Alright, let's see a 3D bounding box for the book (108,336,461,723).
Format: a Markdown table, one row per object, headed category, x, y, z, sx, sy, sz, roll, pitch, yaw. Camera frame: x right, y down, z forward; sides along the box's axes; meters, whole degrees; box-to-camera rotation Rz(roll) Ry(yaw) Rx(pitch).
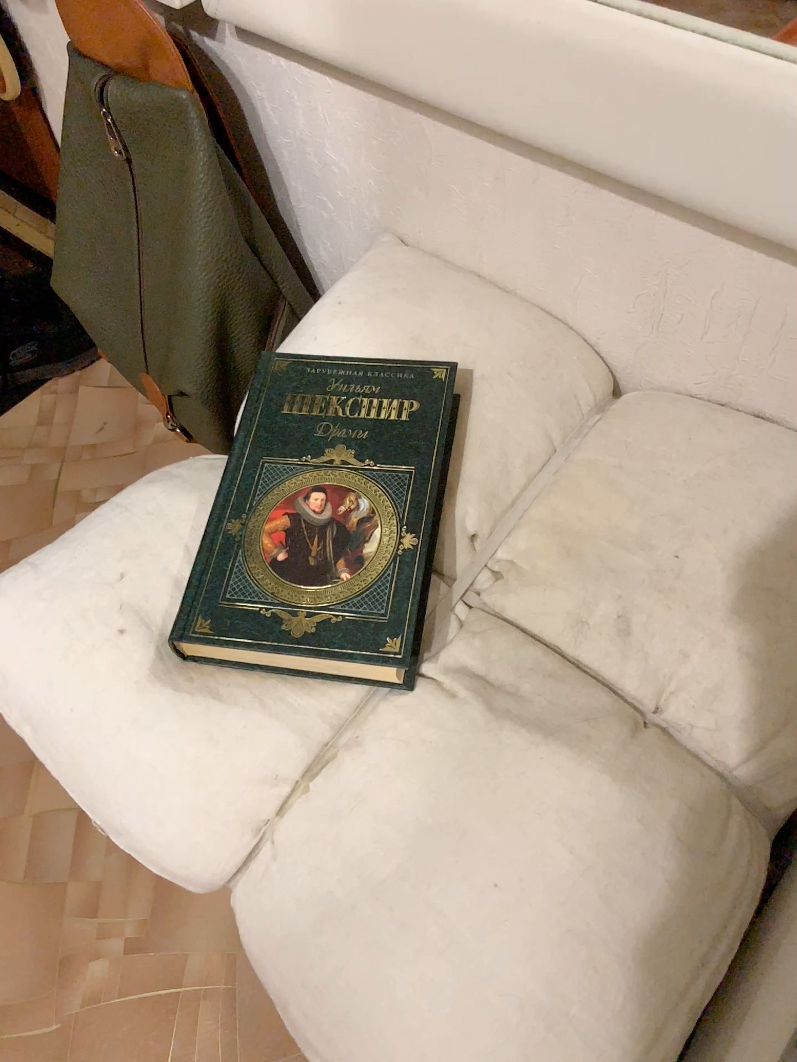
| category | x | y | z | sx | sy | sz | roll | pitch | yaw |
| --- | --- | --- | --- | --- | --- | --- | --- | --- | --- |
| book | -0.054 | -0.012 | 0.474 | 0.150 | 0.040 | 0.221 | 6 | 60 | 10 |
